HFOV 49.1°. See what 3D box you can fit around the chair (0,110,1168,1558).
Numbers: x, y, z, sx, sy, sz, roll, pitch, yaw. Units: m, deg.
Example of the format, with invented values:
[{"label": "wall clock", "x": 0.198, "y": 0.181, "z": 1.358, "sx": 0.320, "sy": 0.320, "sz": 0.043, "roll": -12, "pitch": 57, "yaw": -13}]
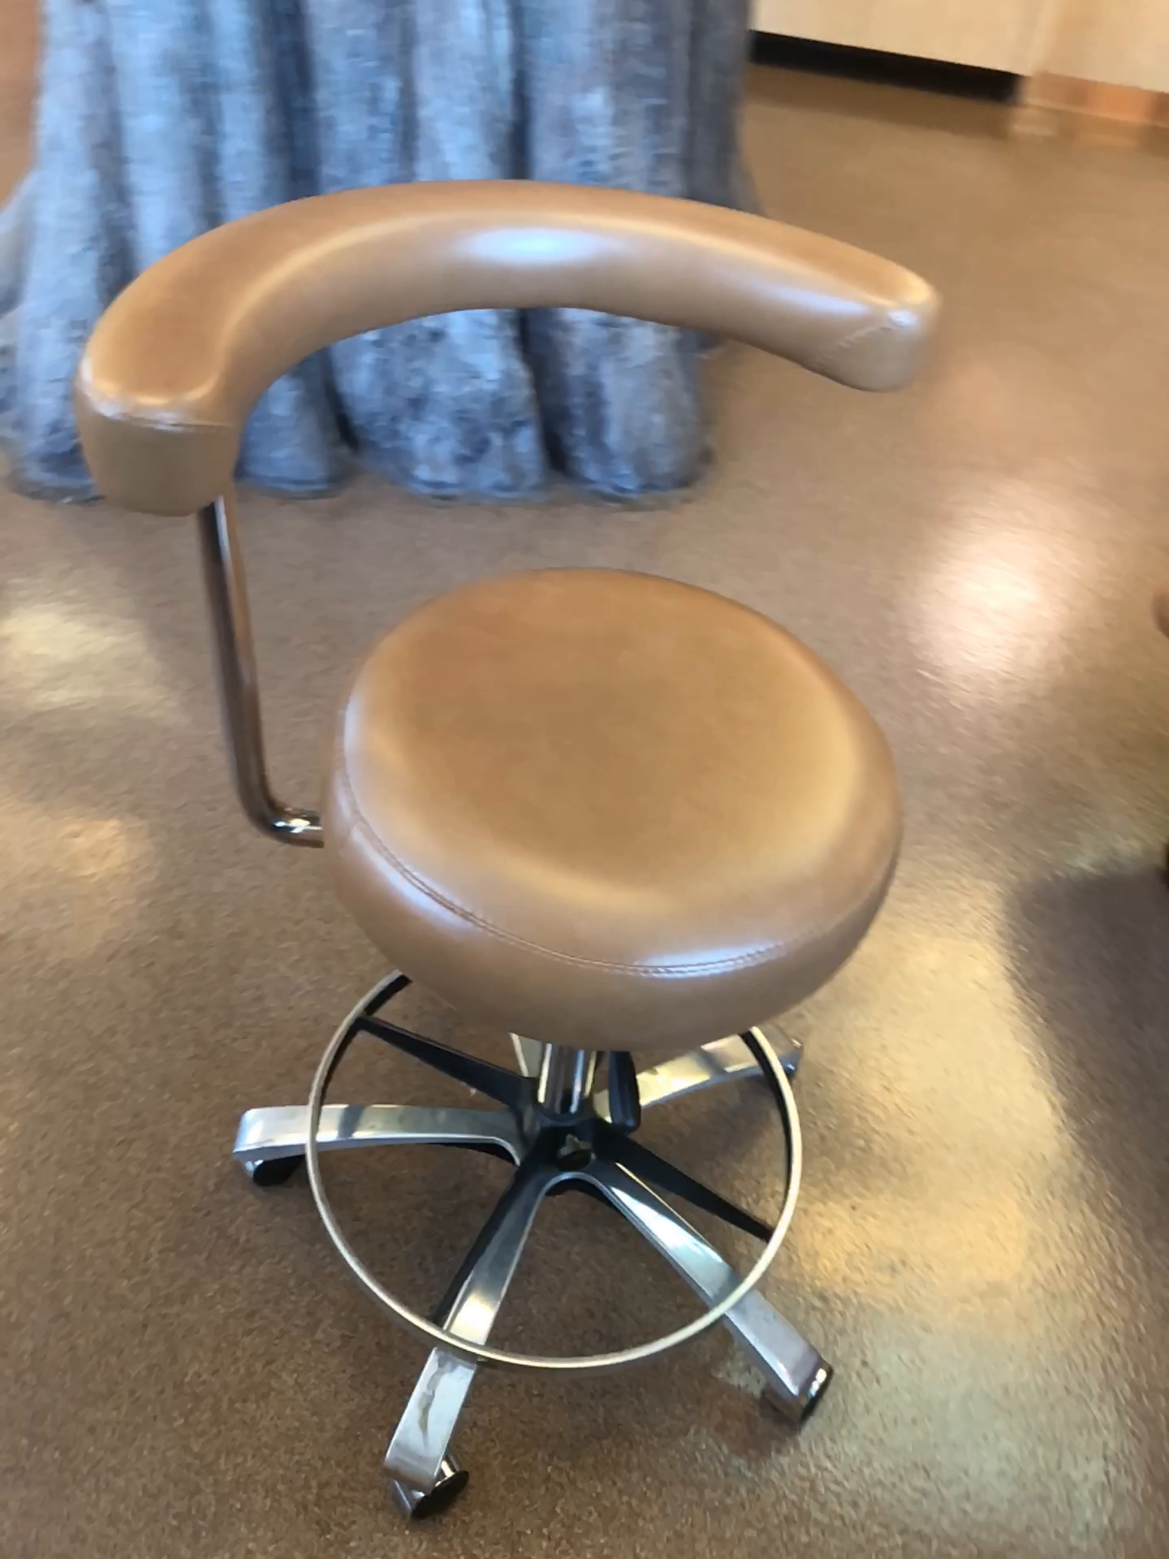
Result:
[{"label": "chair", "x": 0.005, "y": 0.070, "z": 0.909, "sx": 0.611, "sy": 0.805, "sz": 0.593, "roll": -16, "pitch": 48, "yaw": -23}]
